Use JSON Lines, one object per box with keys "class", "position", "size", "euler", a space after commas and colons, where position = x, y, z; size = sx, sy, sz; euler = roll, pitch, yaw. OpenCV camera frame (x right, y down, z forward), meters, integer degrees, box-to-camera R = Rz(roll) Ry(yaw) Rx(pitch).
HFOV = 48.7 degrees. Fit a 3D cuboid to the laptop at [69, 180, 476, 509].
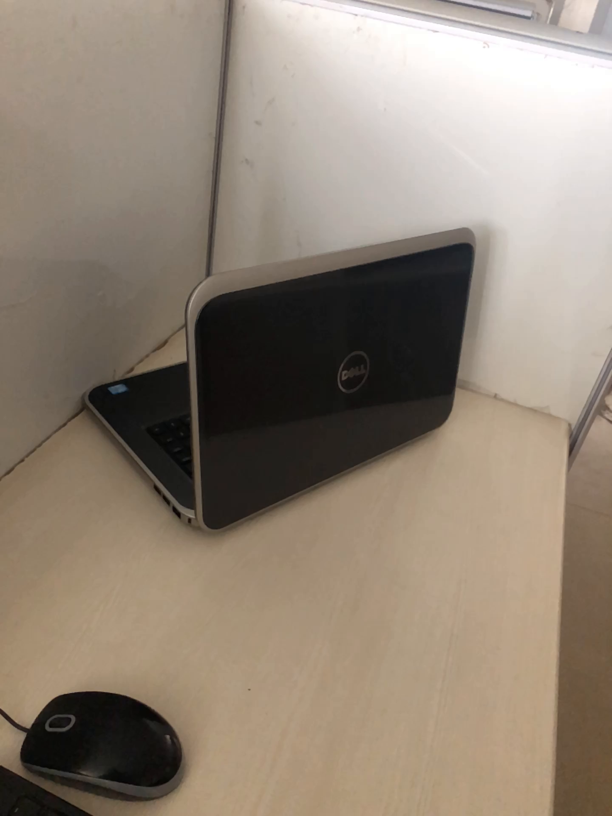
{"class": "laptop", "position": [-0.039, -0.098, 0.724], "size": [0.334, 0.217, 0.239], "euler": [-21, 43, -40]}
